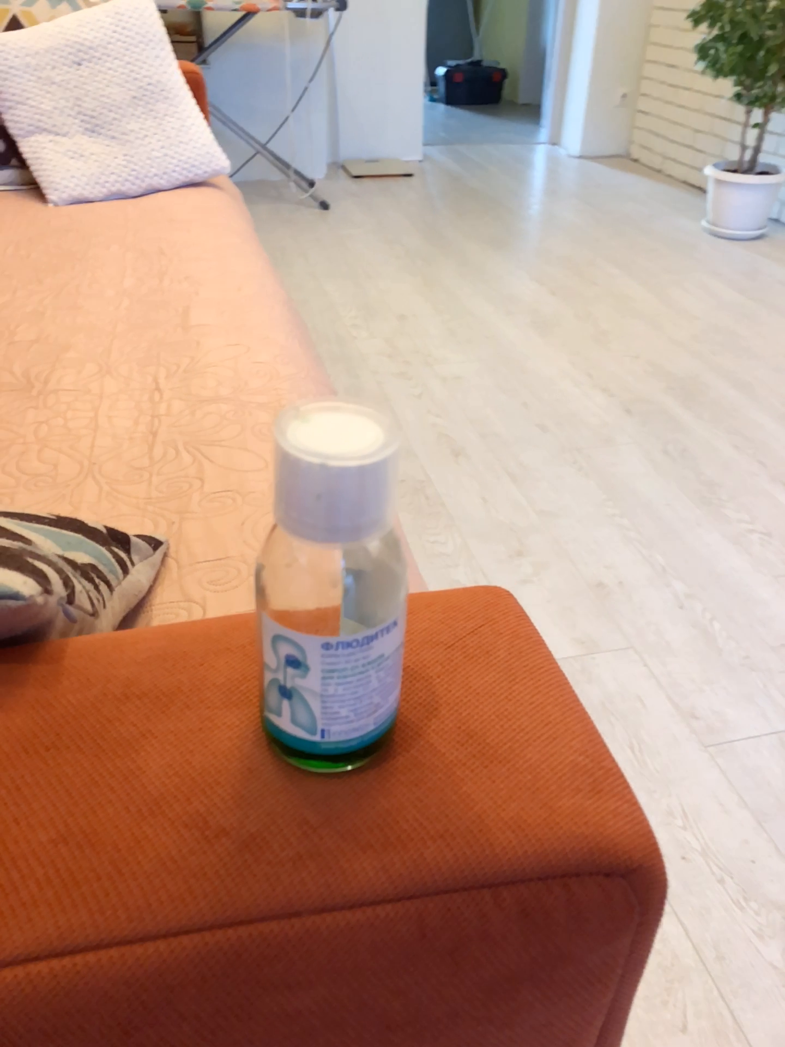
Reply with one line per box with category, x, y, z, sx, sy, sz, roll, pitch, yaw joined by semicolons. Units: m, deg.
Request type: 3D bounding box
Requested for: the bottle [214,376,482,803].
bottle;-0.016;0.019;0.263;0.060;0.106;0.060;1;33;-1
